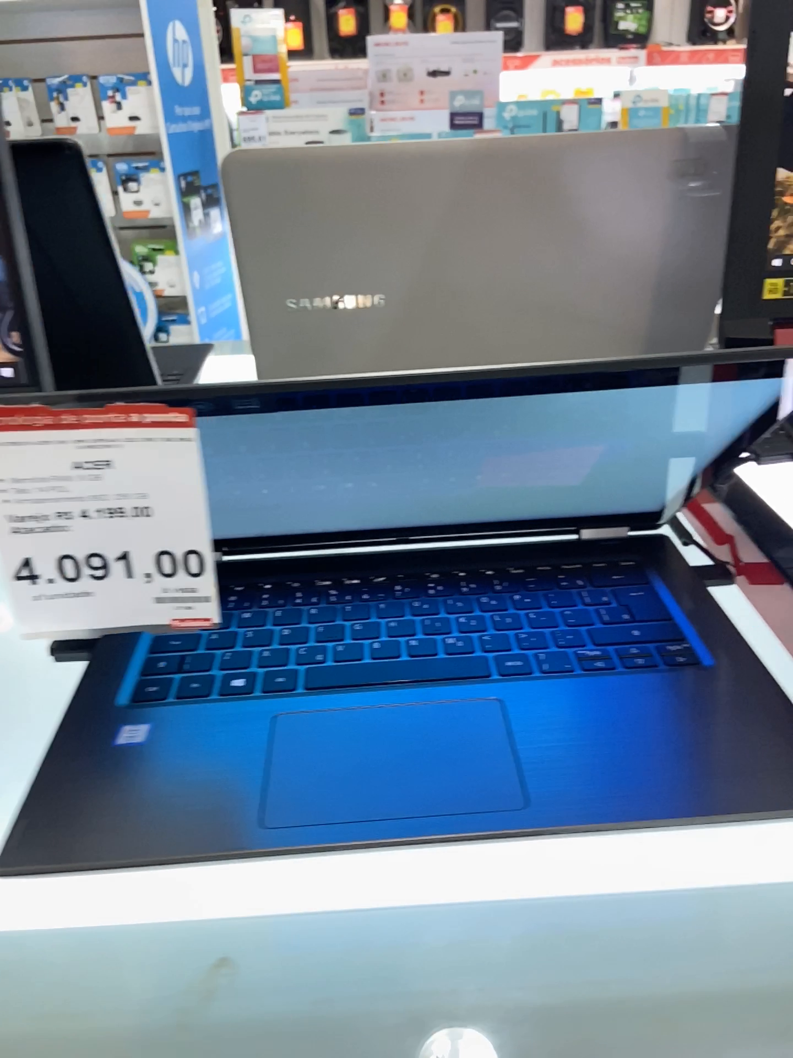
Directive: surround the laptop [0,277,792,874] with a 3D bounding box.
[{"bbox_3d":[0.005,-0.004,0.368,0.328,0.154,0.220,-3,28,-2],"label":"laptop"}]
